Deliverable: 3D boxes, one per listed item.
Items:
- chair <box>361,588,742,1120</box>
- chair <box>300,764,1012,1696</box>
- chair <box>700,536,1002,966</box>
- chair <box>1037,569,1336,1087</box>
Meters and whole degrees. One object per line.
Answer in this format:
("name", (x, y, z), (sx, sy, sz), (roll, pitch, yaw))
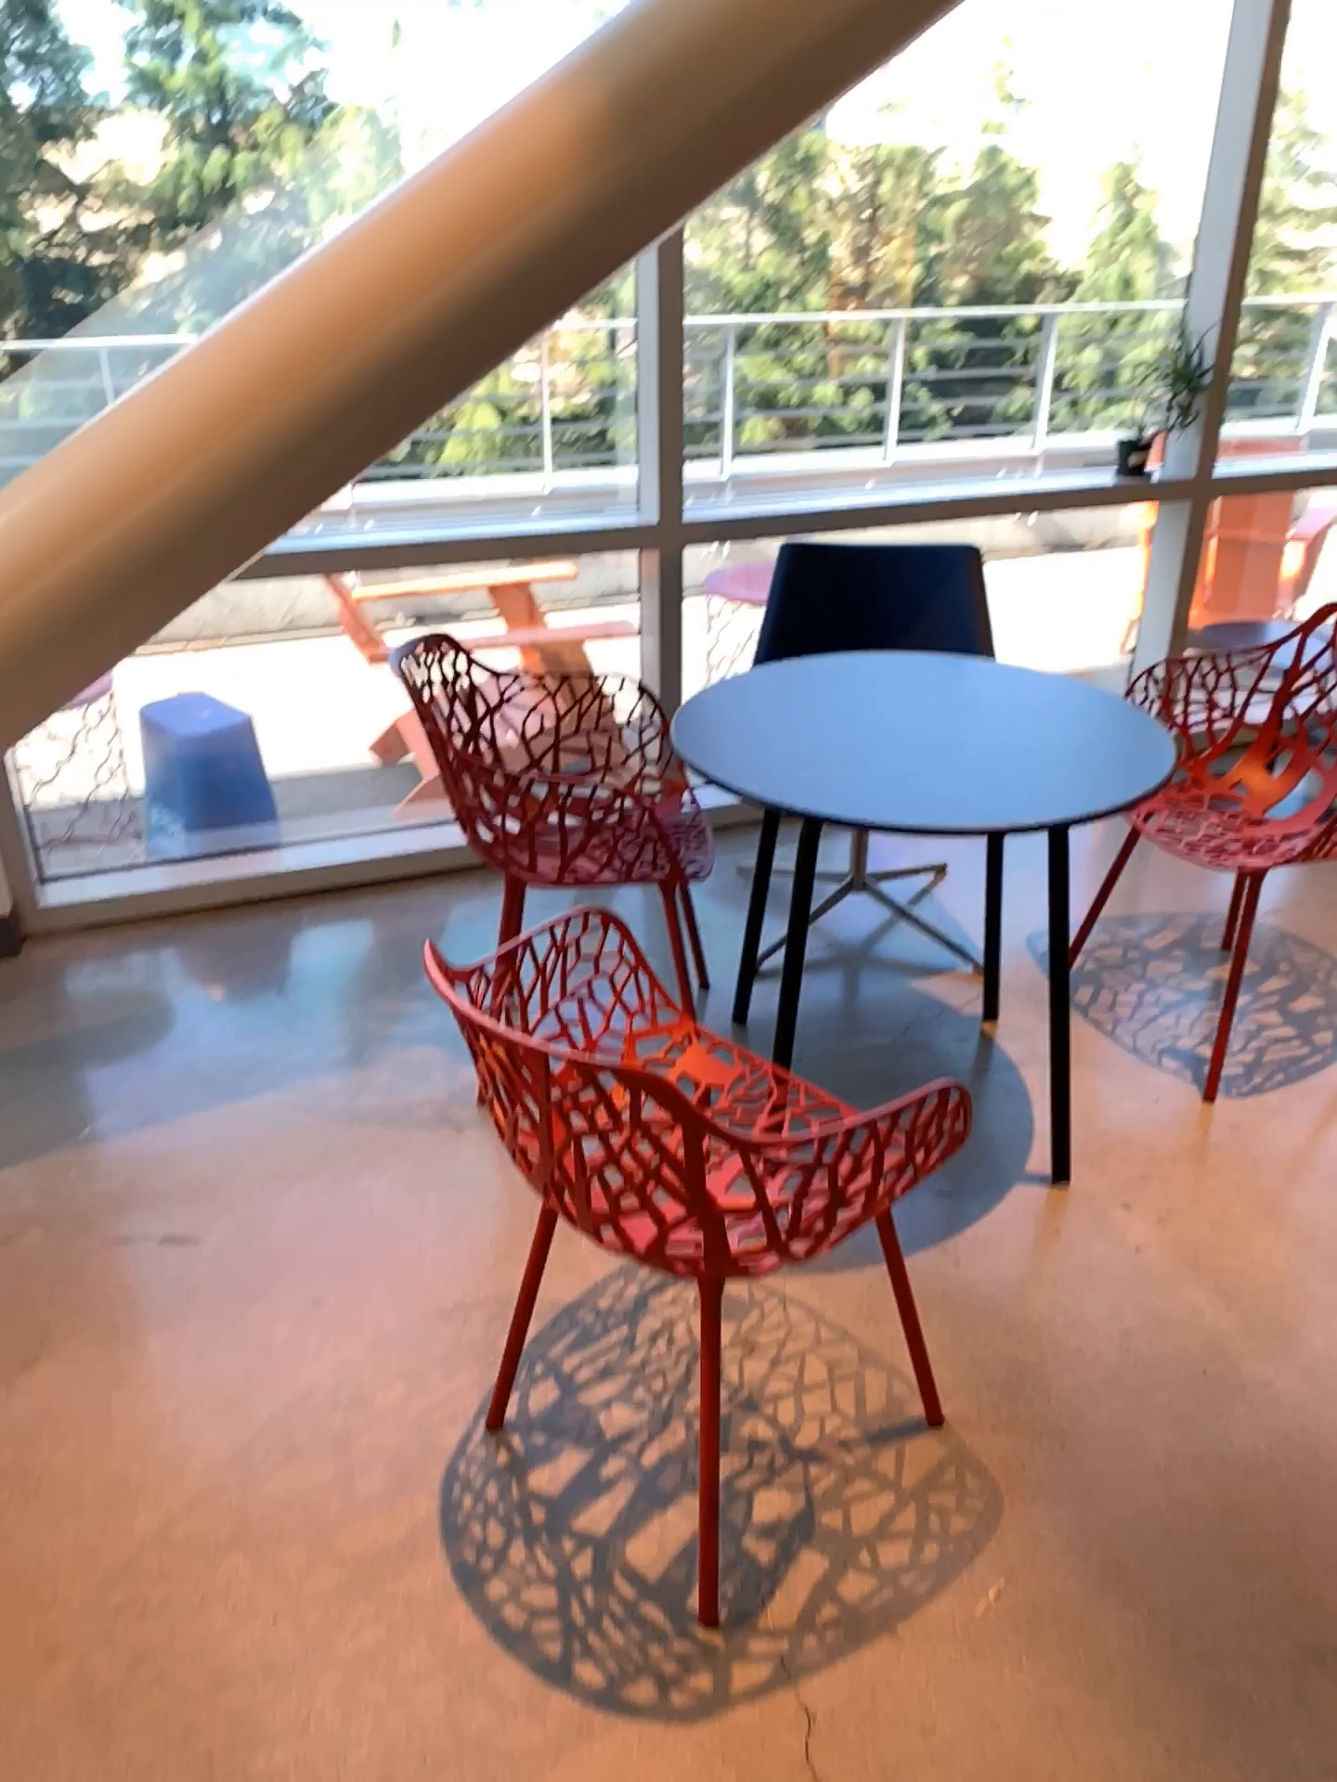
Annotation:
("chair", (-0.167, -0.090, 2.483), (0.530, 0.766, 0.563), (4, 27, 8))
("chair", (-0.018, 0.348, 1.649), (0.531, 0.766, 0.562), (-23, 34, -38))
("chair", (0.386, -0.321, 2.977), (0.560, 0.766, 0.513), (4, 27, 9))
("chair", (1.151, -0.150, 2.633), (0.560, 0.766, 0.553), (-10, 28, -19))
